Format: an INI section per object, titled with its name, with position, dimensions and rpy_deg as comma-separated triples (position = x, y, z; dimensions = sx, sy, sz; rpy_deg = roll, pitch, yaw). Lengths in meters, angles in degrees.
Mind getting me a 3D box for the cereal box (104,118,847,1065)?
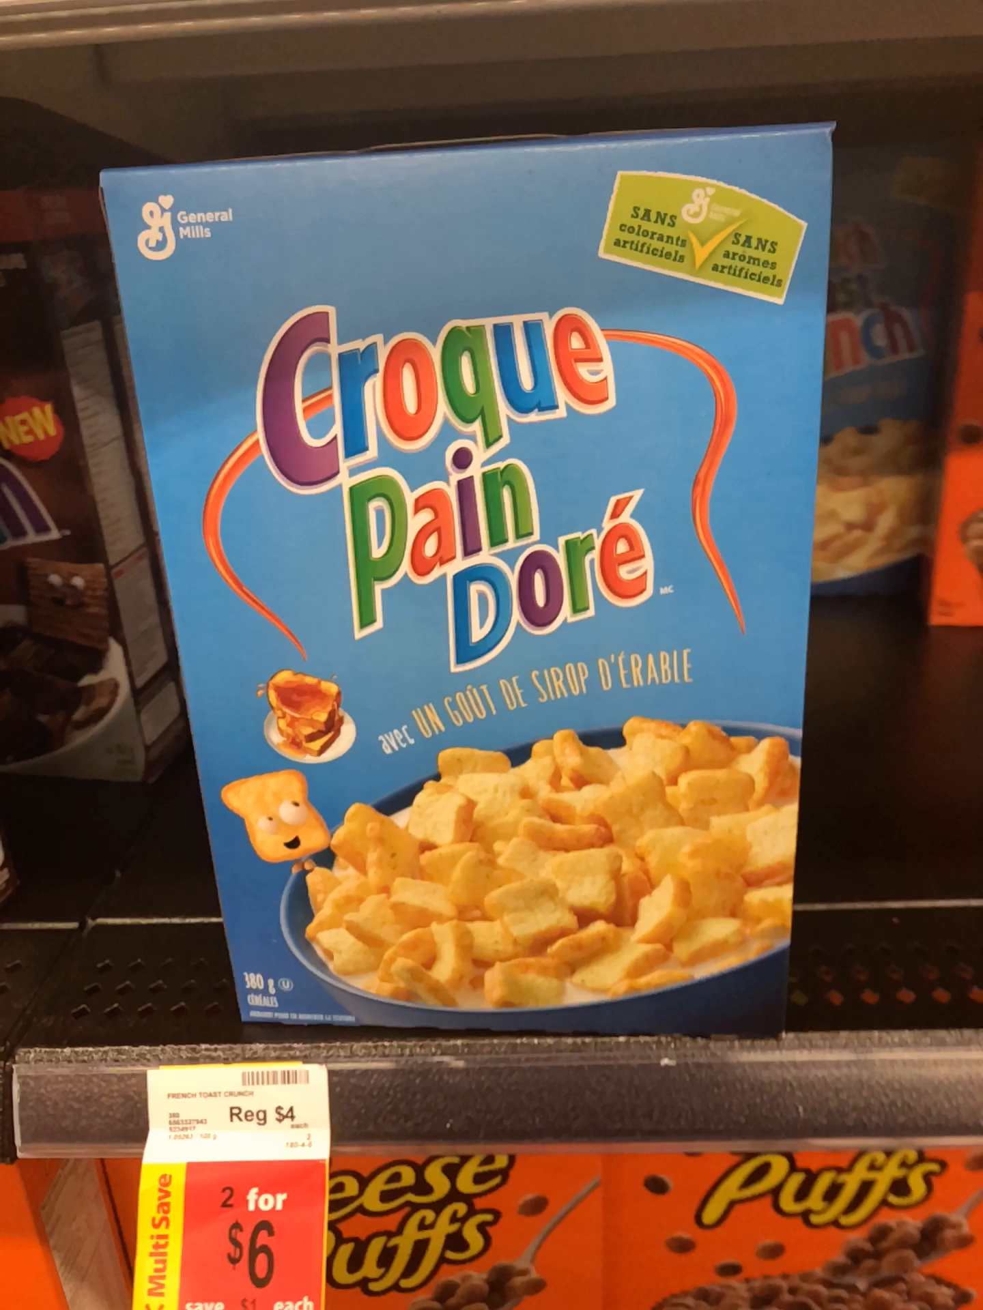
[cereal box]
position = 0.002, -0.008, 0.369
dimensions = 0.200, 0.298, 0.060
rpy_deg = 0, 20, 7
